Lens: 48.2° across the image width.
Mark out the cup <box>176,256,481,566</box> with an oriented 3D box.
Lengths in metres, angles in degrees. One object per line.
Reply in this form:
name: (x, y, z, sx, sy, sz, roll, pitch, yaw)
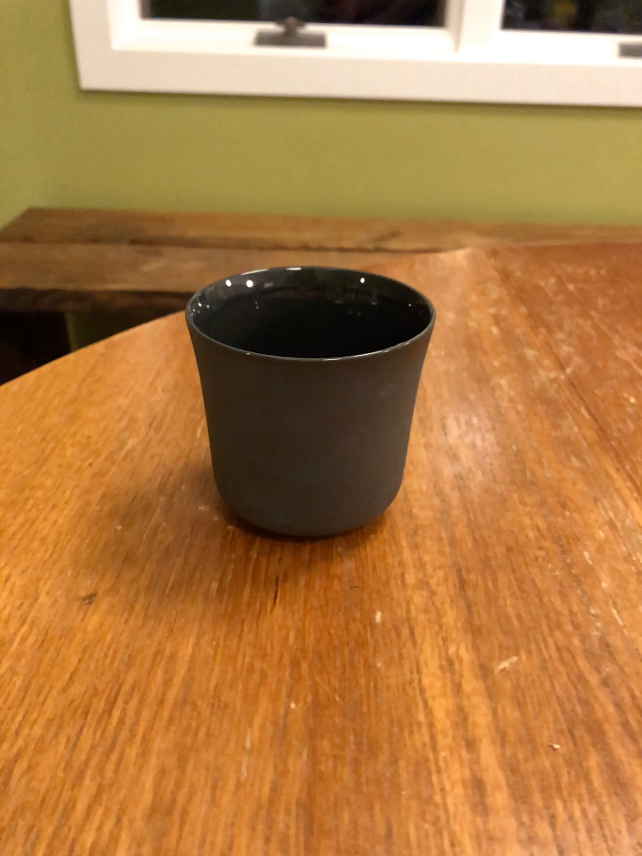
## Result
cup: (-0.003, -0.010, 0.233, 0.079, 0.068, 0.075, 1, 31, -1)
